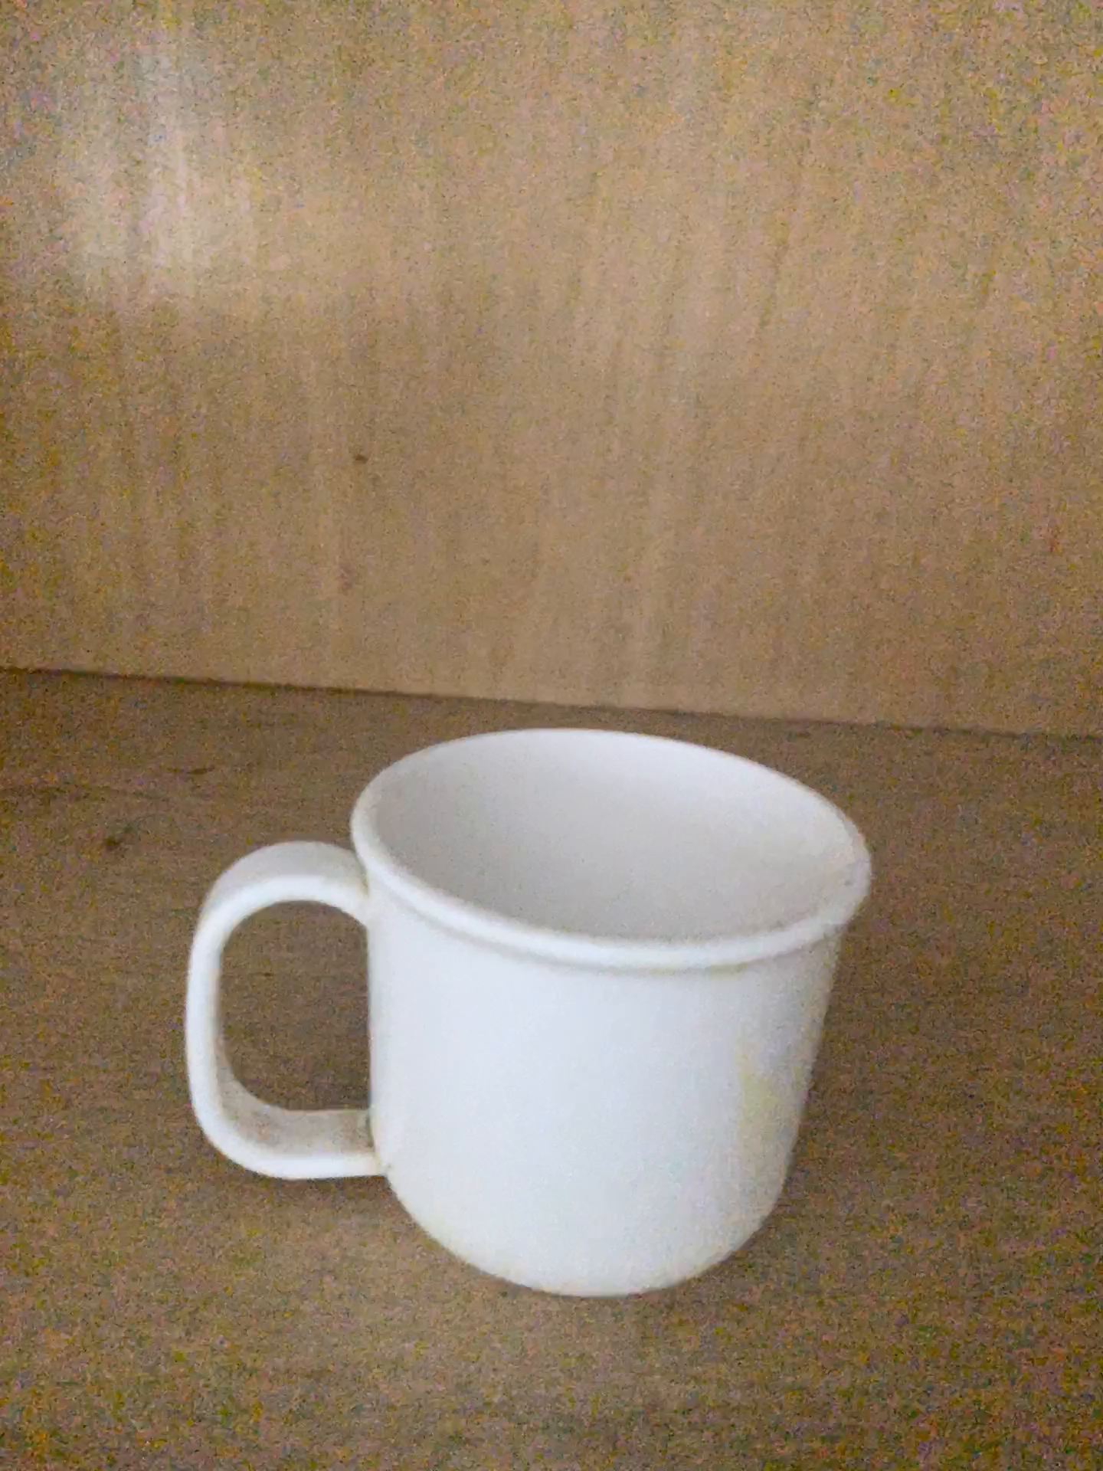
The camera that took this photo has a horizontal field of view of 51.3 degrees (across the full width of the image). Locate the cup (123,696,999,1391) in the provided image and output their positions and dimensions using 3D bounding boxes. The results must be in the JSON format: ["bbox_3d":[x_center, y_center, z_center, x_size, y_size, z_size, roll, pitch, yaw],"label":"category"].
[{"bbox_3d":[-0.005,0.040,0.189,0.110,0.070,0.081,0,20,-12],"label":"cup"}]
